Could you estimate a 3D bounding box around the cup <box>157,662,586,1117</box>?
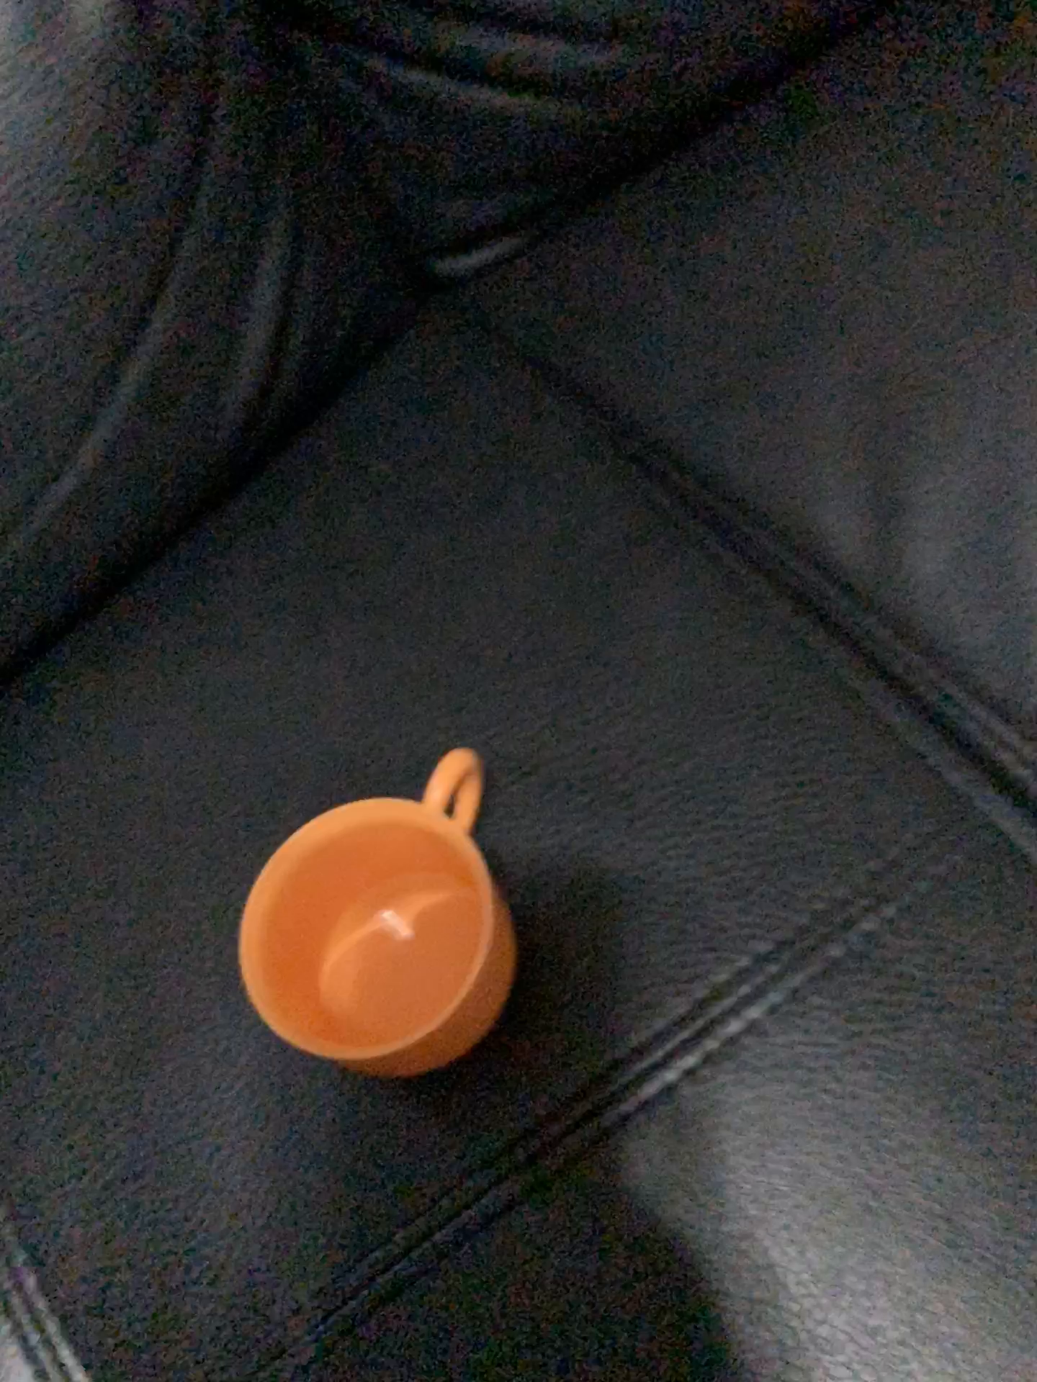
[{"bbox_3d":[-0.029,0.045,0.253,0.063,0.046,0.081,13,67,18],"label":"cup"}]
